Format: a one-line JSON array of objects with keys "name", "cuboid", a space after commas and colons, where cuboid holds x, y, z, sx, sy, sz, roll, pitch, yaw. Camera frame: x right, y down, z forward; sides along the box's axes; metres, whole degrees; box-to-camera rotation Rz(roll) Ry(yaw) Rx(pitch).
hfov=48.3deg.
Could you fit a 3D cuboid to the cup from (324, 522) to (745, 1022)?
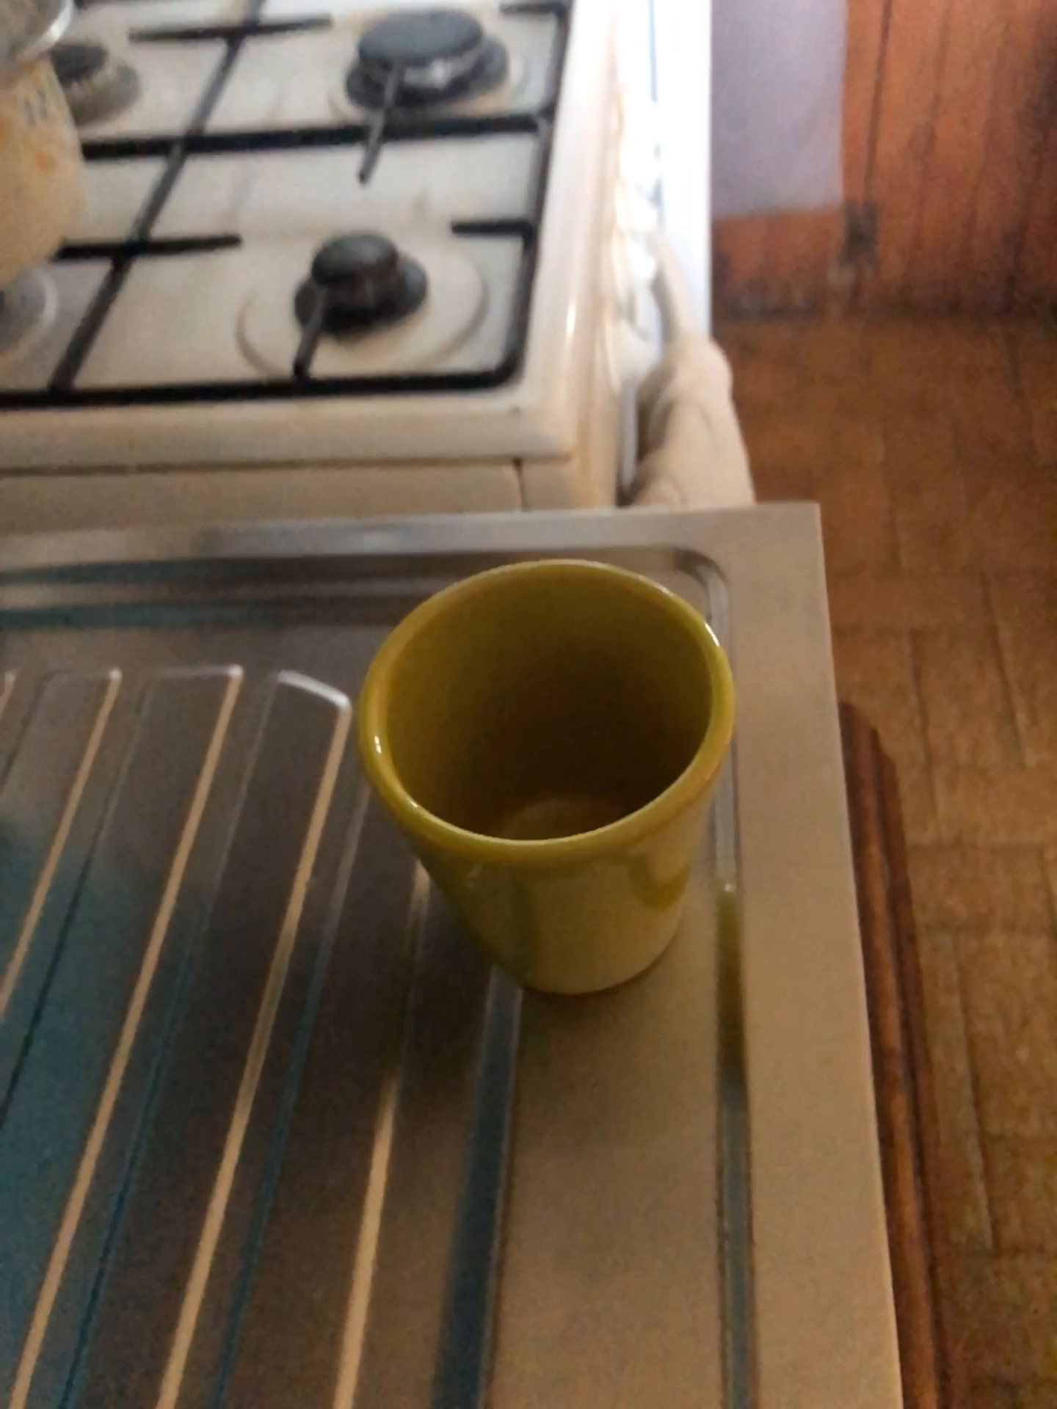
[{"name": "cup", "cuboid": [0.010, 0.017, 0.284, 0.080, 0.090, 0.080, -4, 51, 5]}]
